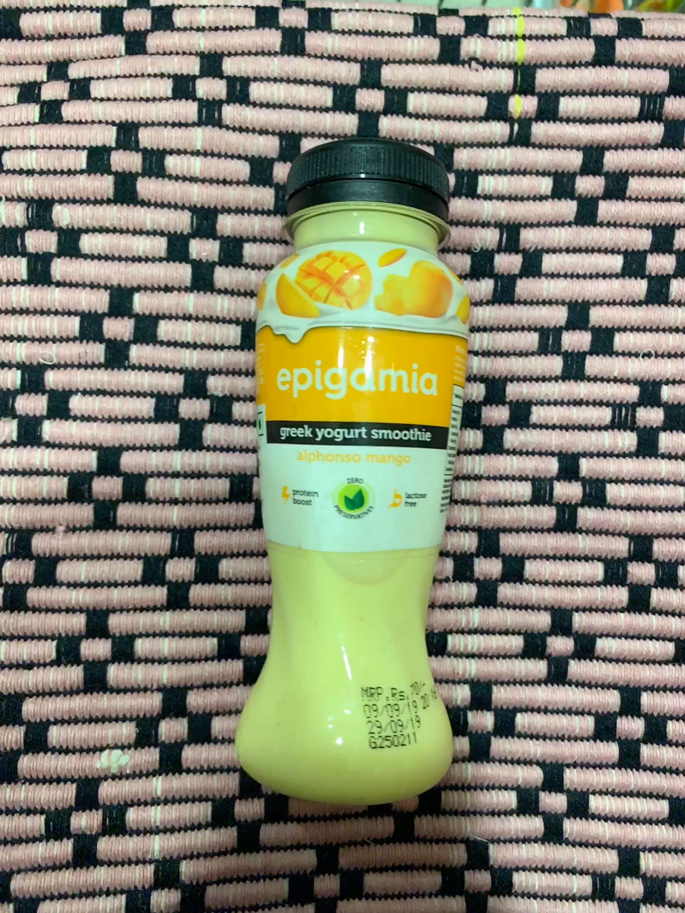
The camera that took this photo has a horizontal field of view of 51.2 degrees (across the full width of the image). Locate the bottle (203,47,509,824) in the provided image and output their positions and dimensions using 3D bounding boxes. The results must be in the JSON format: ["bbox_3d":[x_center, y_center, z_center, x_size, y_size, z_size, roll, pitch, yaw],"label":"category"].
[{"bbox_3d":[0.007,-0.006,0.180,0.060,0.060,0.160,1,86,7],"label":"bottle"}]
